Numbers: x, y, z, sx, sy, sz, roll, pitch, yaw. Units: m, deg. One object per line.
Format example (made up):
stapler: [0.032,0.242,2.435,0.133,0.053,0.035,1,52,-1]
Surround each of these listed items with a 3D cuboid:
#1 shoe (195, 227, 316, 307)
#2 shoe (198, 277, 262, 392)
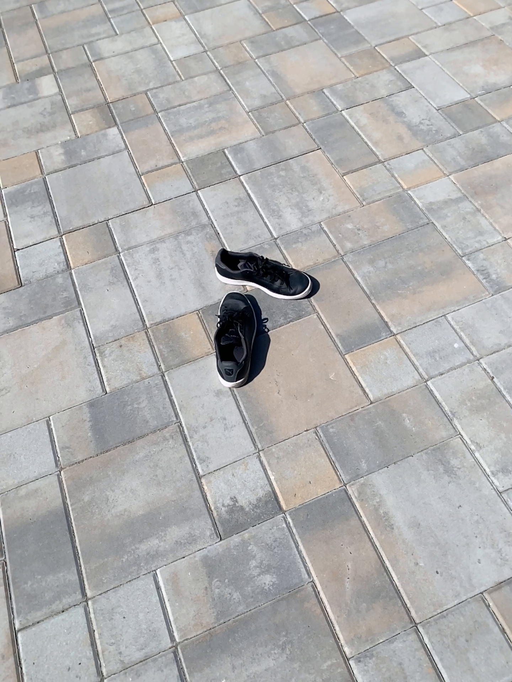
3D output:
shoe: [0.002,-0.191,1.333,0.280,0.100,0.110,15,60,14]
shoe: [-0.055,-0.018,1.237,0.110,0.110,0.251,2,58,7]
